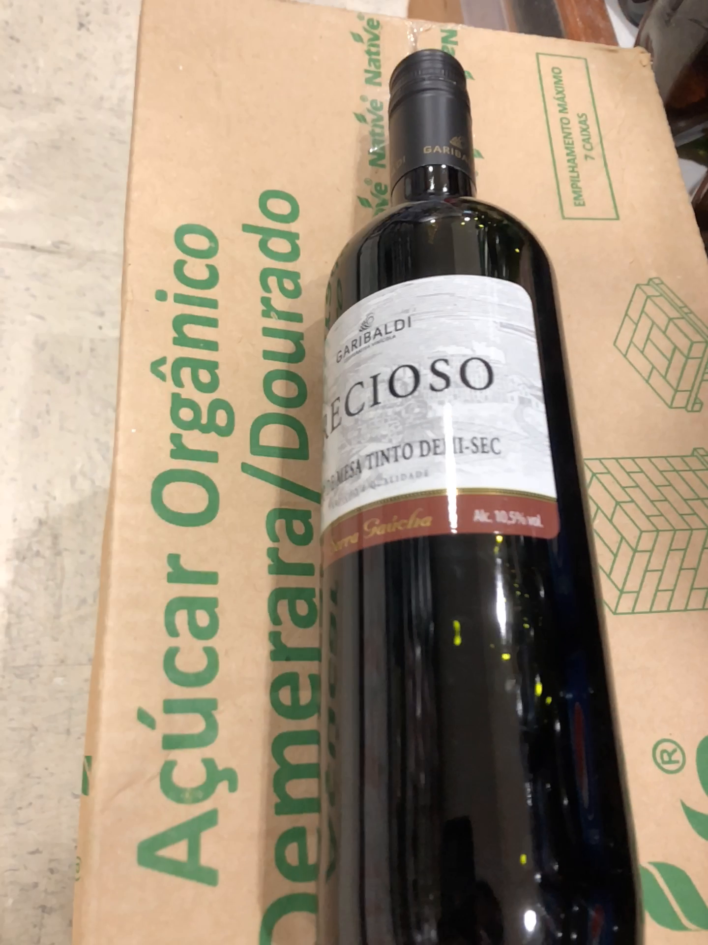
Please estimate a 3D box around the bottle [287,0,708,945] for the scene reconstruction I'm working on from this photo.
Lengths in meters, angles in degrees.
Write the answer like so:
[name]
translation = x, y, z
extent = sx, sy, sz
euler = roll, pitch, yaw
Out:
[bottle]
translation = 0.038, -0.042, 0.234
extent = 0.090, 0.080, 0.341
euler = 7, 62, -14
